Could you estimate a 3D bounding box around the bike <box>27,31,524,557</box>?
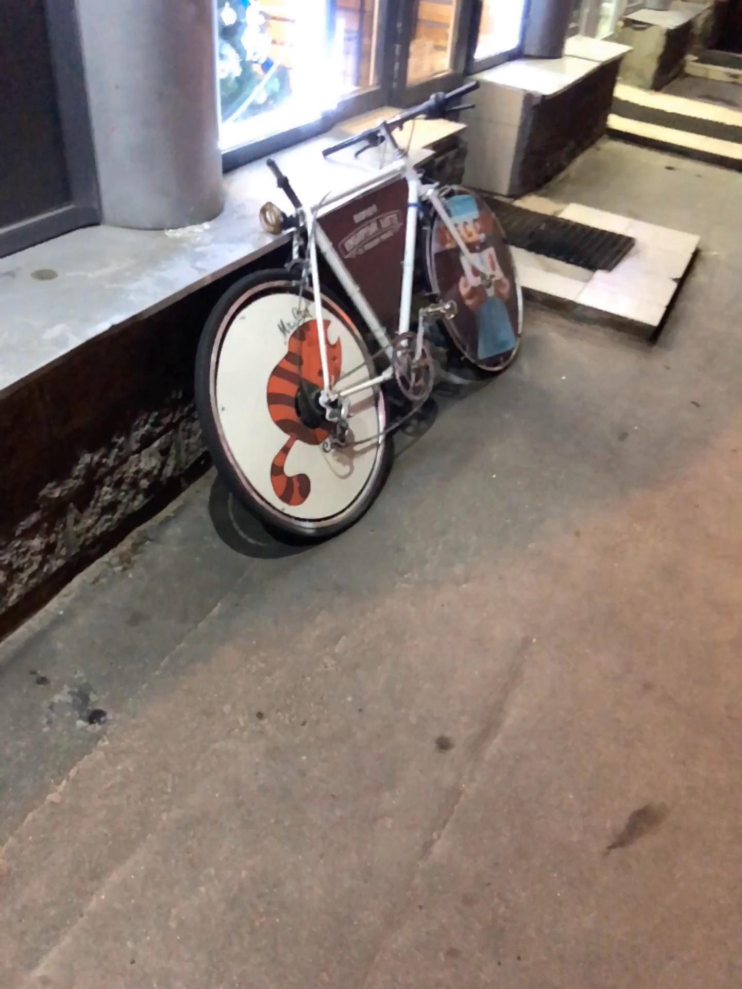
[{"bbox_3d":[-0.147,-0.734,2.427,0.569,0.916,1.594,21,40,19],"label":"bike"}]
